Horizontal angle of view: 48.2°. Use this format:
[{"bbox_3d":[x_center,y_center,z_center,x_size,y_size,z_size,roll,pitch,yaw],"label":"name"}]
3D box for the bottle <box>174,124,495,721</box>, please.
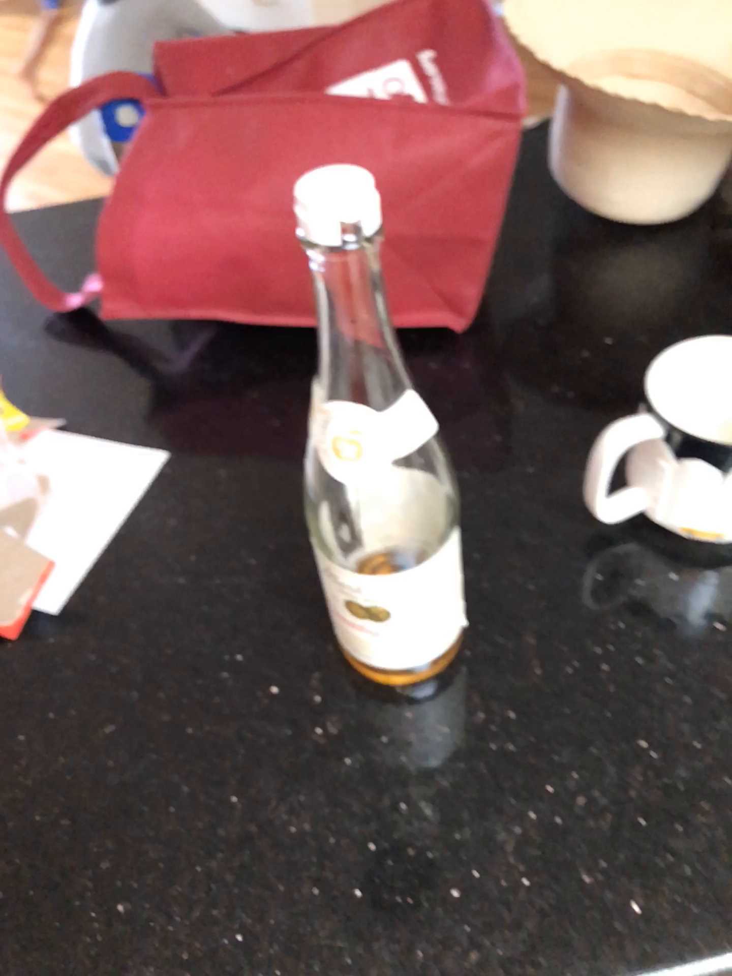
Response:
[{"bbox_3d":[0.008,-0.007,0.442,0.093,0.330,0.101,-4,49,5],"label":"bottle"}]
